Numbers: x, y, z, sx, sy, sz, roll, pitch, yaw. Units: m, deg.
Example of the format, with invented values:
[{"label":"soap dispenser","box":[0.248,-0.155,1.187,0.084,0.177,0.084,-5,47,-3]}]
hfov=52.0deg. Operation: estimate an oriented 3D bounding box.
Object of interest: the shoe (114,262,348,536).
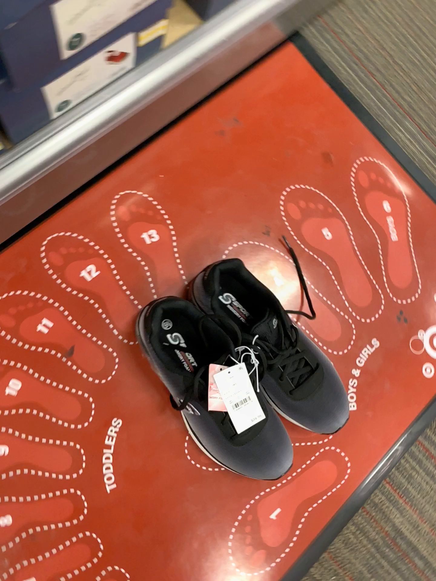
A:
[{"label":"shoe","box":[0.006,0.112,0.493,0.100,0.100,0.260,-37,89,-15]}]

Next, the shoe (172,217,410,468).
[{"label":"shoe","box":[0.075,0.059,0.516,0.100,0.100,0.260,-41,90,-15]}]
